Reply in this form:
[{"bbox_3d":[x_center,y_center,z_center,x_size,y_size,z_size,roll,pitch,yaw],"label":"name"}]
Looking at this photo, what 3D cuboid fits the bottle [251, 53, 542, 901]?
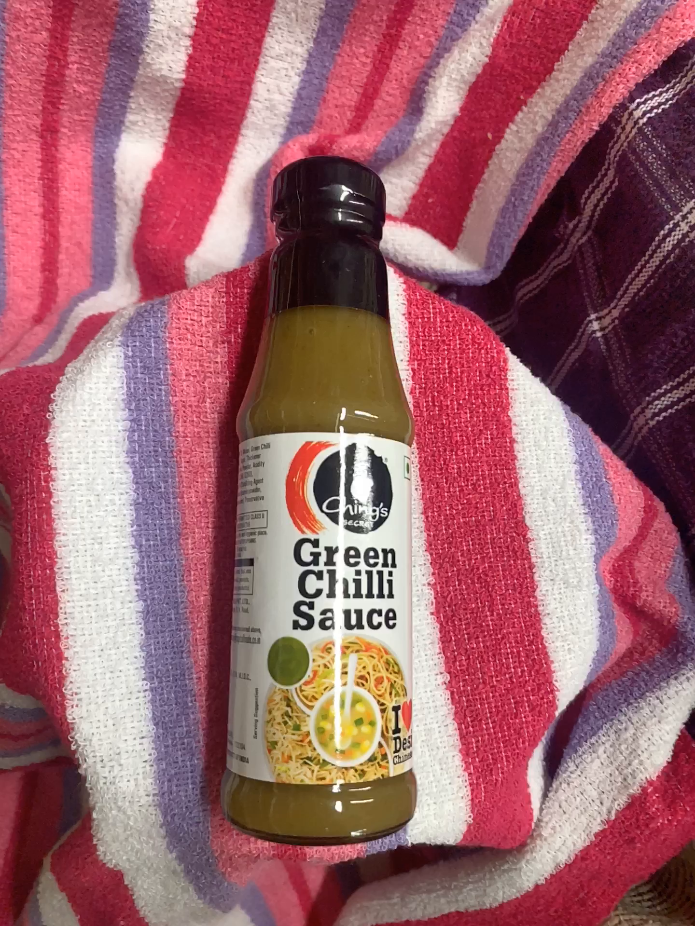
[{"bbox_3d":[0.006,-0.001,0.173,0.050,0.050,0.170,2,79,-14],"label":"bottle"}]
